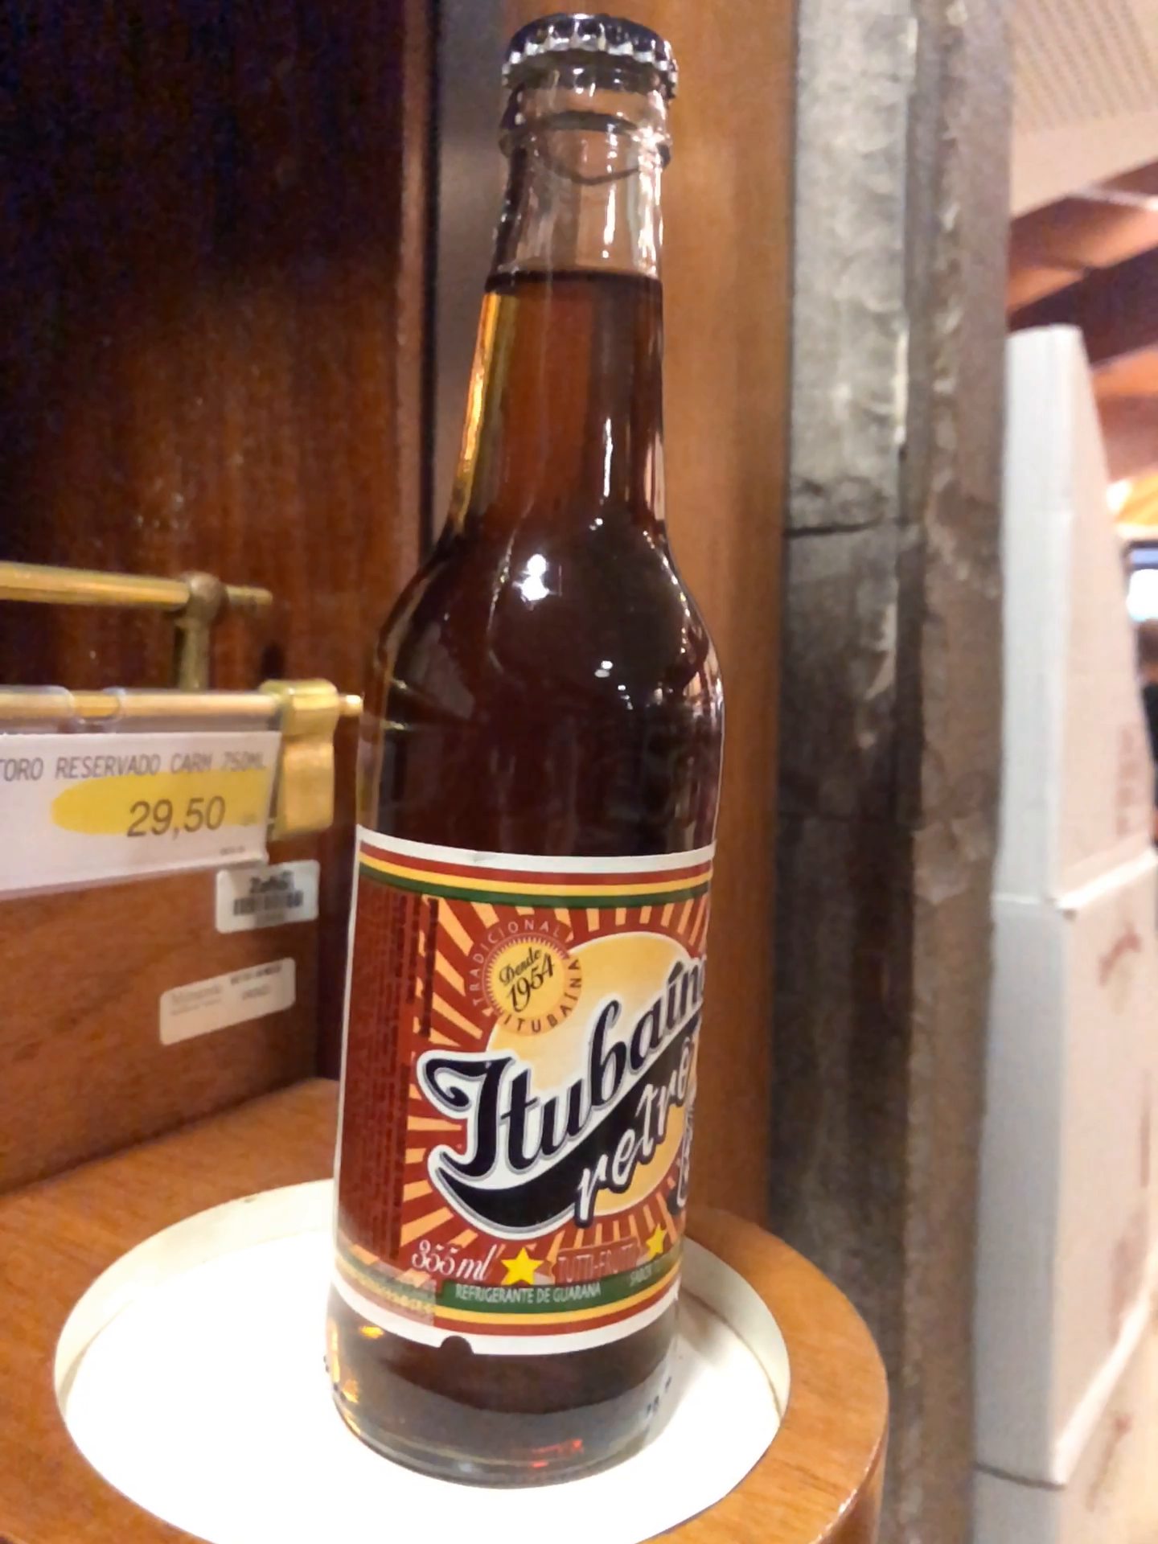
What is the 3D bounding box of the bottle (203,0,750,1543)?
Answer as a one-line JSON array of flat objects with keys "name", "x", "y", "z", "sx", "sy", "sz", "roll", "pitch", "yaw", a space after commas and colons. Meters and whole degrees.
[{"name": "bottle", "x": -0.020, "y": 0.000, "z": 0.242, "sx": 0.070, "sy": 0.250, "sz": 0.070, "roll": 1, "pitch": 2, "yaw": 0}]
